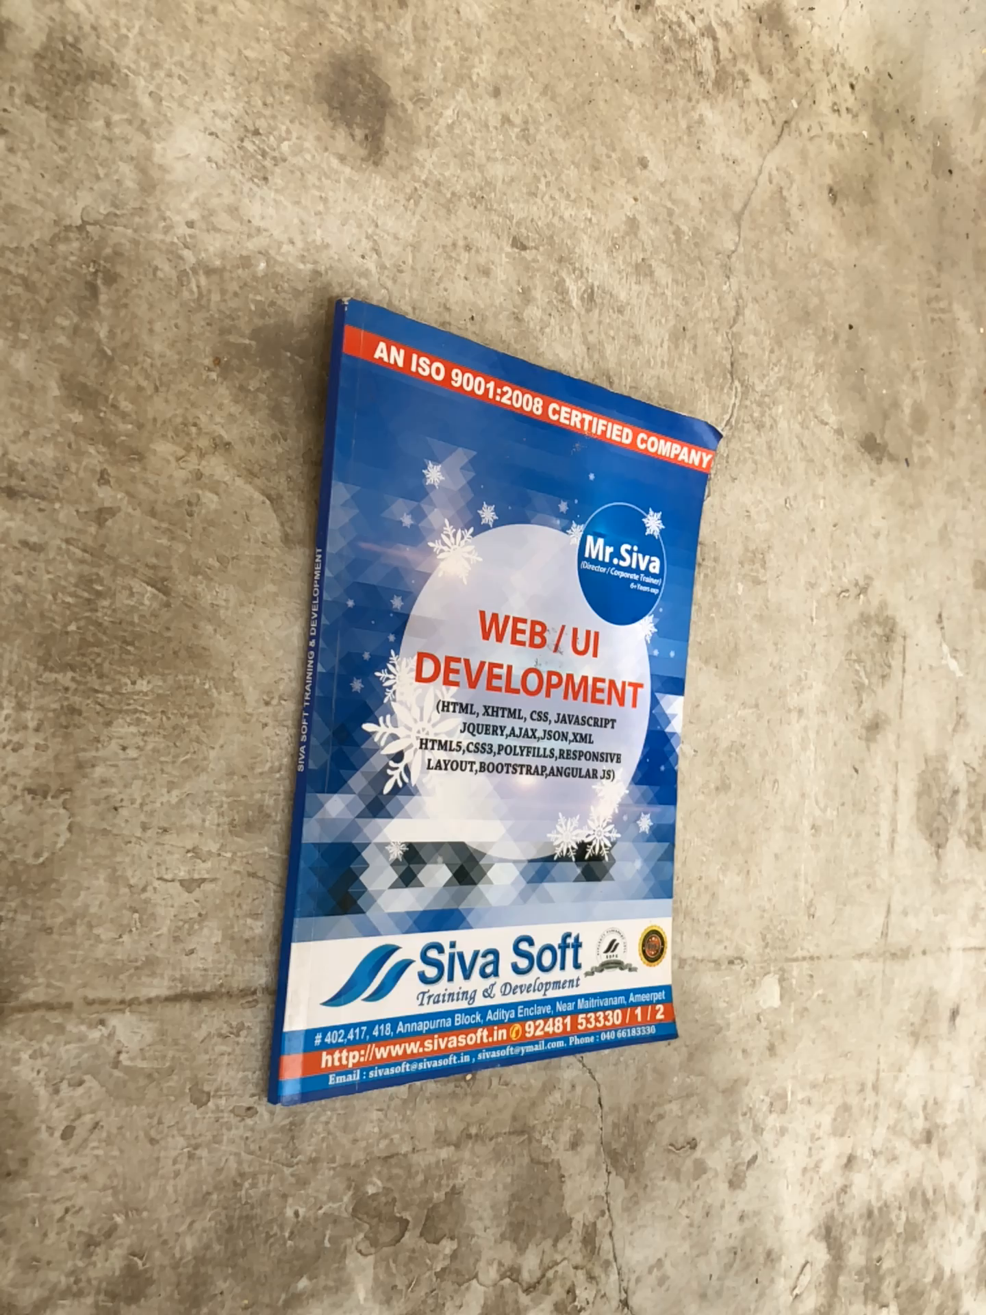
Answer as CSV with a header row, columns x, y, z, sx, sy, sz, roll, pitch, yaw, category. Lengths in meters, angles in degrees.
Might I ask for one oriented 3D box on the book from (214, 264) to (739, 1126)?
x,y,z,sx,sy,sz,roll,pitch,yaw,category
0.009,0.020,0.431,0.211,0.030,0.280,8,85,-39,book
